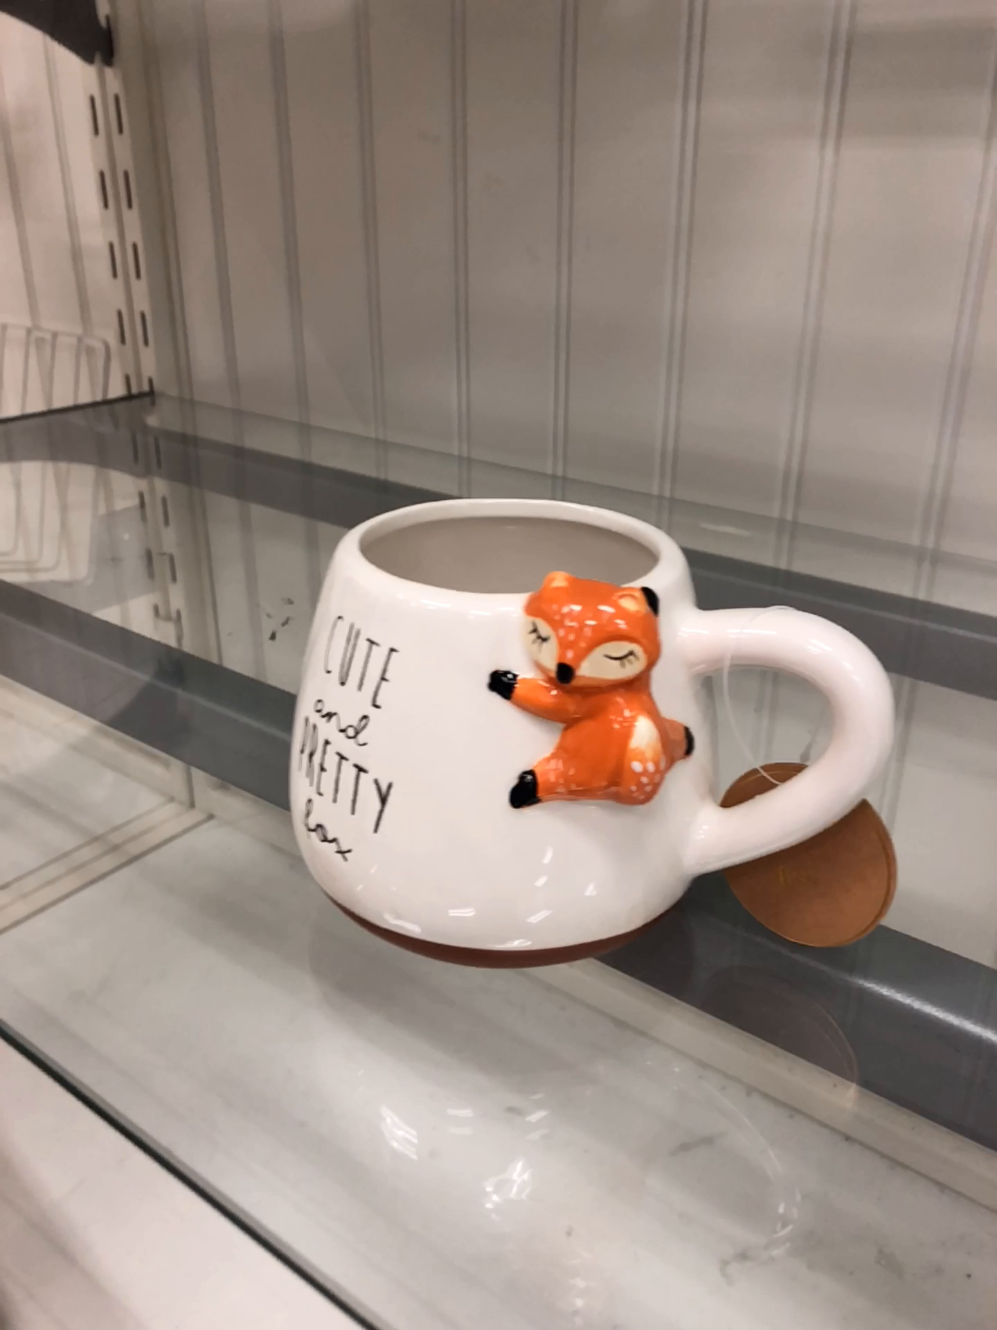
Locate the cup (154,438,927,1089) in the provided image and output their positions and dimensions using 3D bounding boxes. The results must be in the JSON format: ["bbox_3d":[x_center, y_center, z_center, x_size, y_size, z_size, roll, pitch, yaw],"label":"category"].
[{"bbox_3d":[0.014,0.008,0.261,0.143,0.089,0.101,11,26,21],"label":"cup"}]
